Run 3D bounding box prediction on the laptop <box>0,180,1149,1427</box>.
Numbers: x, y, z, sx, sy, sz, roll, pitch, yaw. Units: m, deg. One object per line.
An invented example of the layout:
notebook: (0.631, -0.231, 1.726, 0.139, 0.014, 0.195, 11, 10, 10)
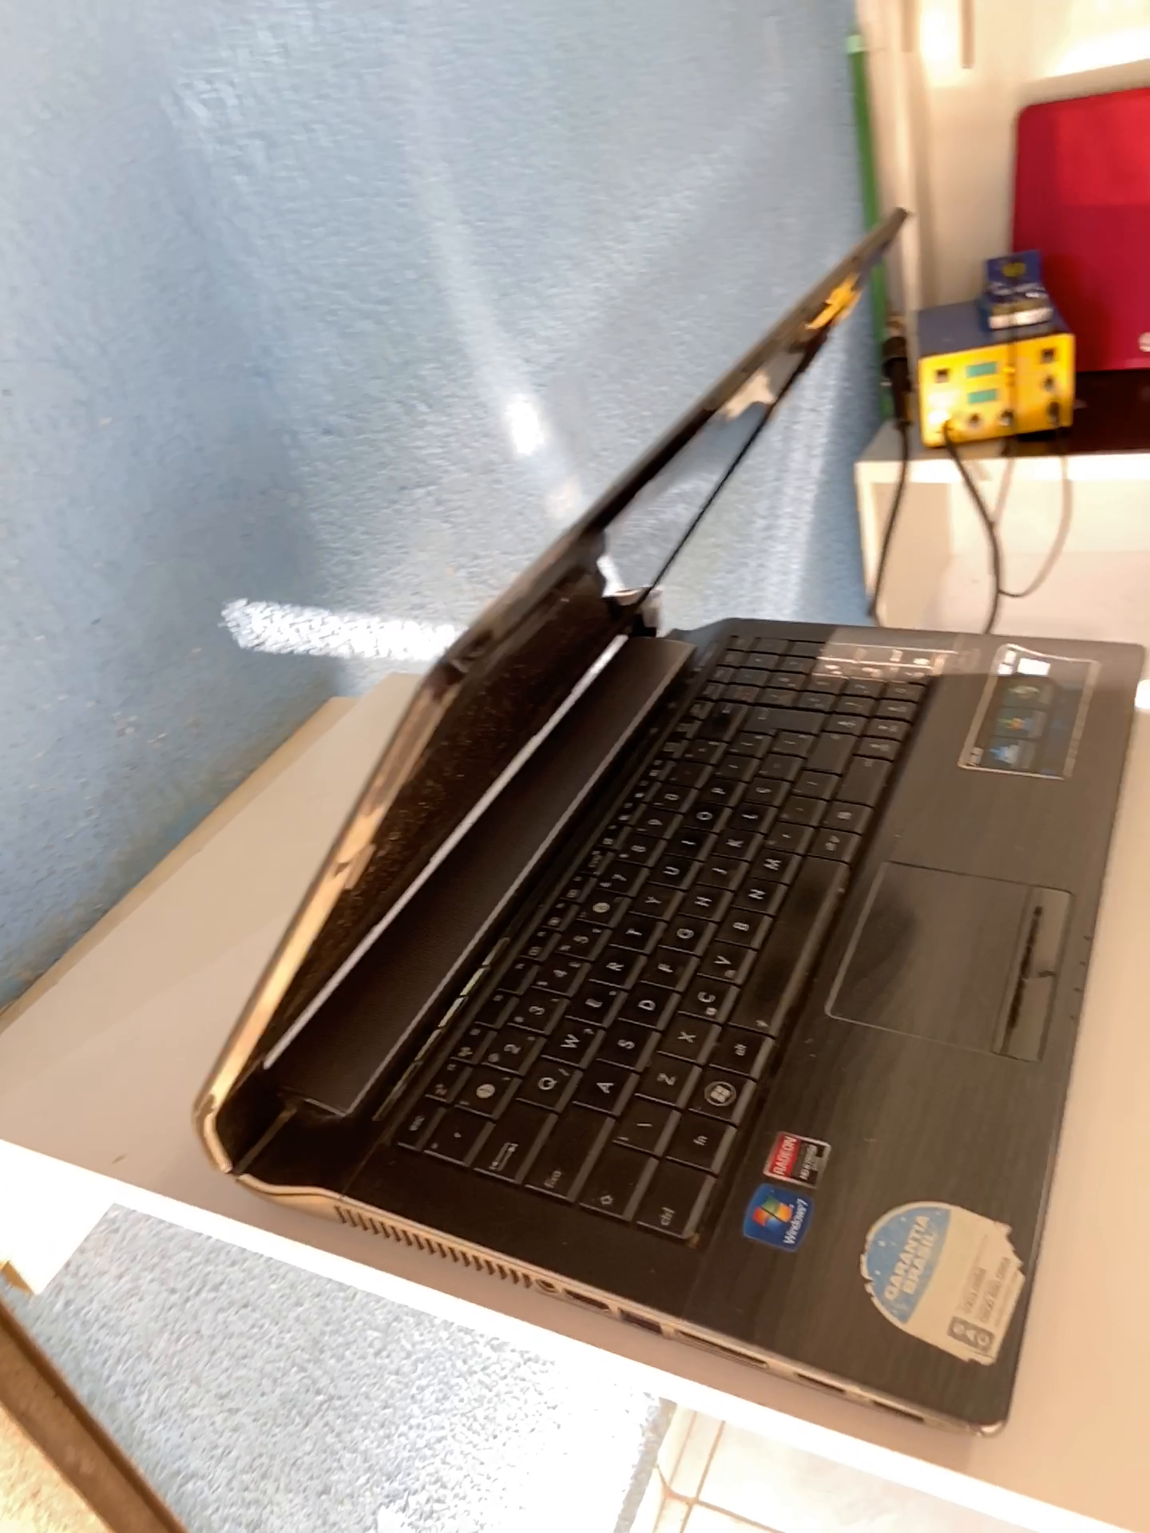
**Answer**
laptop: (0.056, -0.044, 0.435, 0.255, 0.208, 0.389, 4, 36, 29)
